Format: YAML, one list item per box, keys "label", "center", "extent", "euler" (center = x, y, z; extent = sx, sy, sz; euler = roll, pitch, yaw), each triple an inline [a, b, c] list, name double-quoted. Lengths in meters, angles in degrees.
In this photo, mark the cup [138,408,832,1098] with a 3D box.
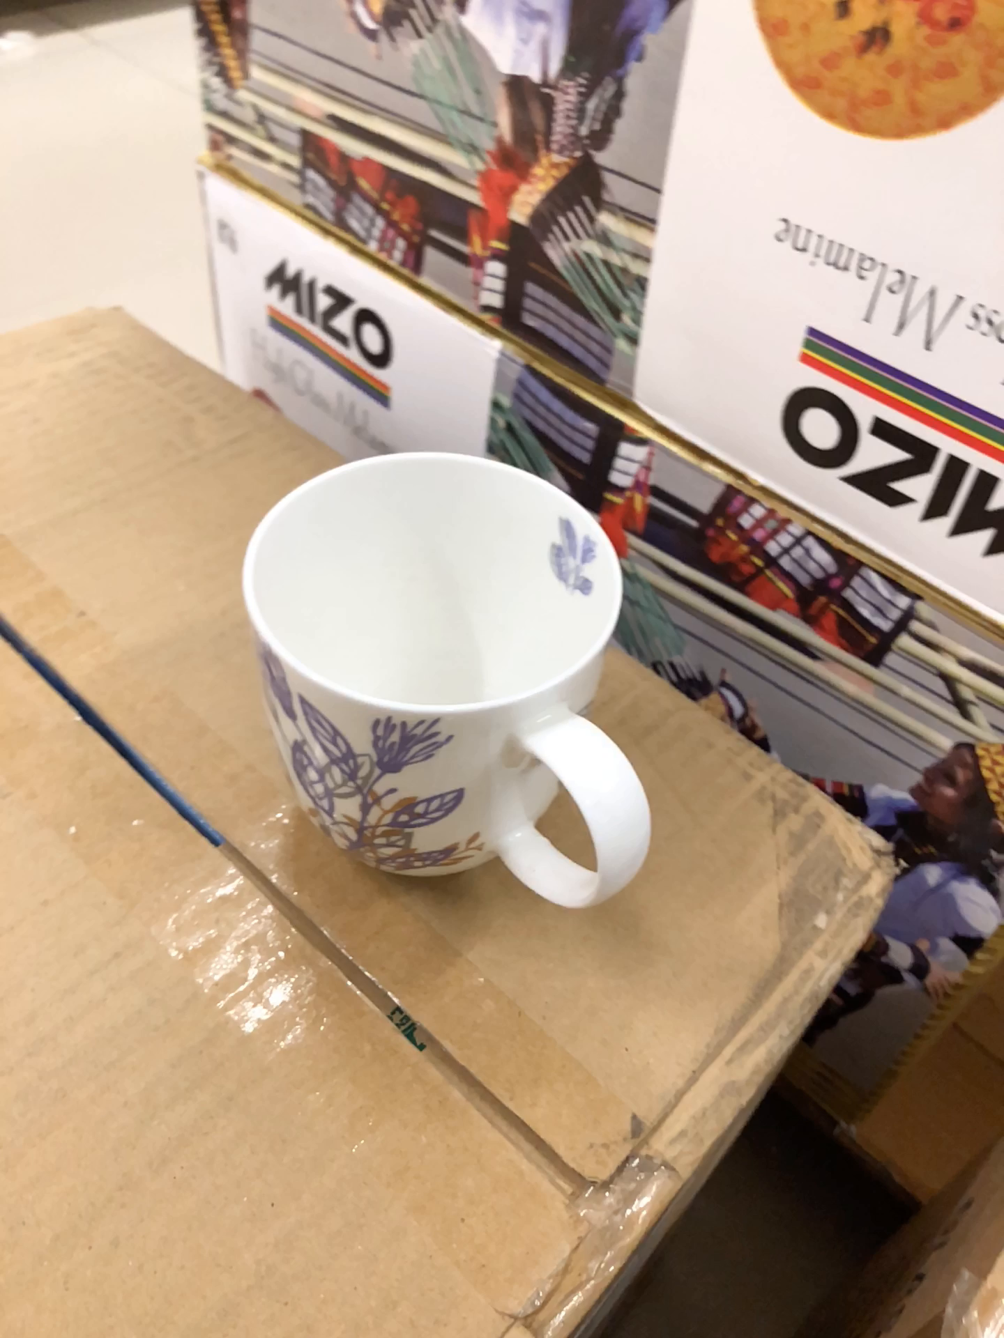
- label: "cup"
  center: [-0.008, 0.012, 0.262]
  extent: [0.090, 0.070, 0.120]
  euler: [-31, 57, -31]
